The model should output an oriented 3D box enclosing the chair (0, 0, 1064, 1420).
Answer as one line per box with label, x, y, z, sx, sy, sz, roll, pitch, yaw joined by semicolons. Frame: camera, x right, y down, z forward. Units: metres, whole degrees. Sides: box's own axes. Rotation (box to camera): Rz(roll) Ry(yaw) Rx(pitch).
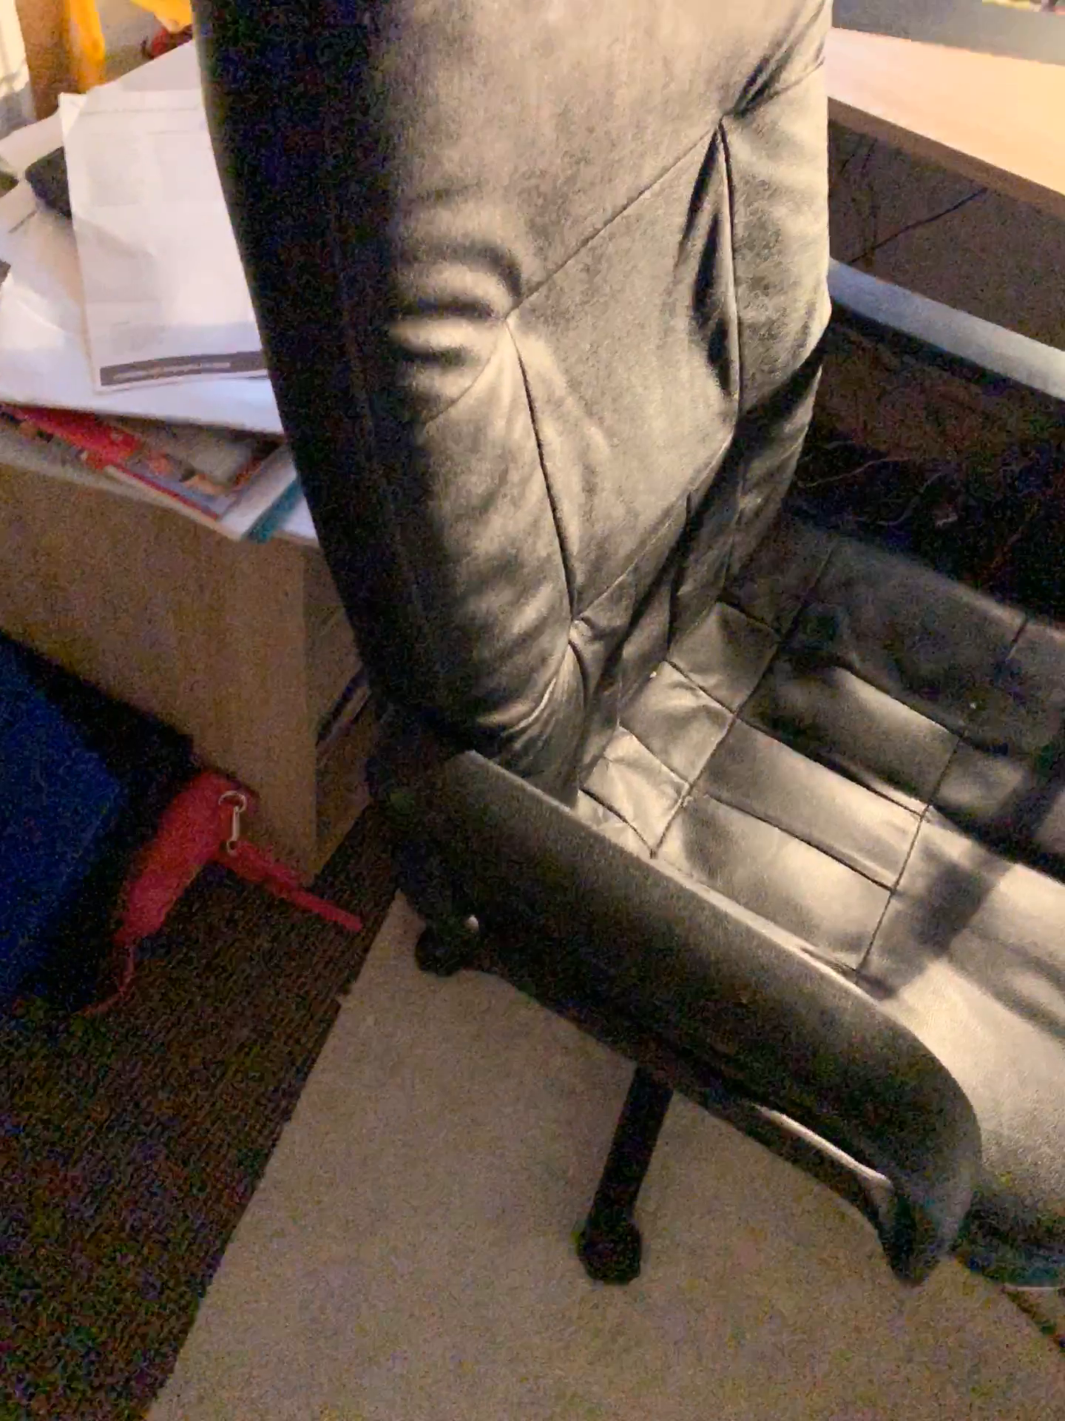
chair;0.242;0.026;0.832;0.651;1.162;0.714;27;59;12
